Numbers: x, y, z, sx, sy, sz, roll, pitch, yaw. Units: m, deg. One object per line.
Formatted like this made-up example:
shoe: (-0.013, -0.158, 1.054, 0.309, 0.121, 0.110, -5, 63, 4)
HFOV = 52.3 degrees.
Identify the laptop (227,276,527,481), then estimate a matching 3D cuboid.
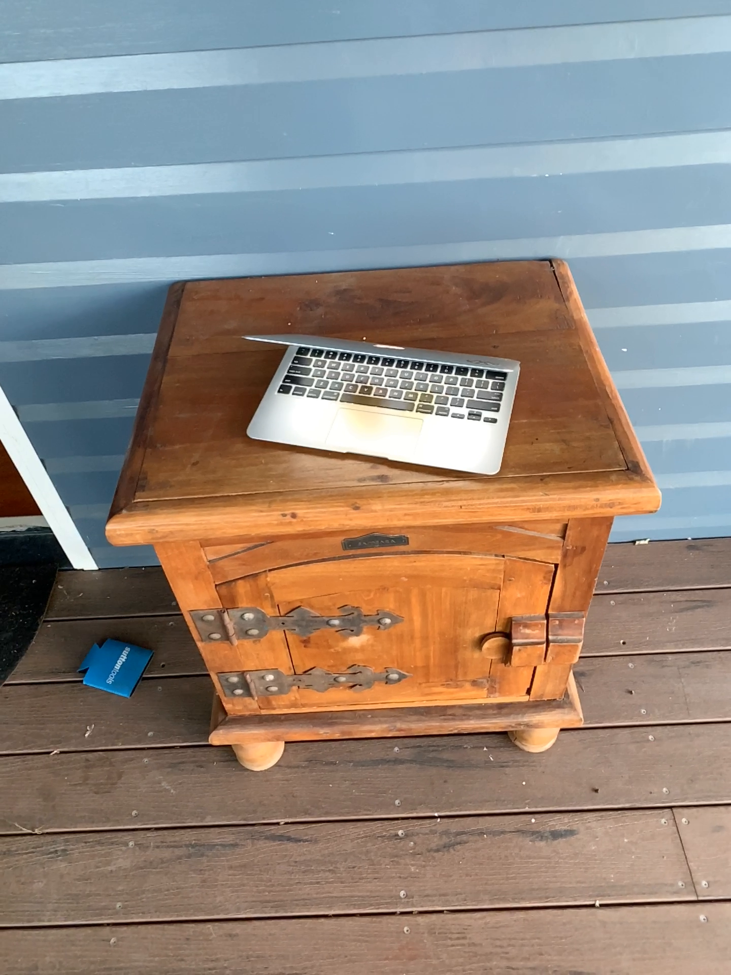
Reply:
laptop: (0.020, -0.128, 0.830, 0.282, 0.099, 0.180, 9, 50, 13)
